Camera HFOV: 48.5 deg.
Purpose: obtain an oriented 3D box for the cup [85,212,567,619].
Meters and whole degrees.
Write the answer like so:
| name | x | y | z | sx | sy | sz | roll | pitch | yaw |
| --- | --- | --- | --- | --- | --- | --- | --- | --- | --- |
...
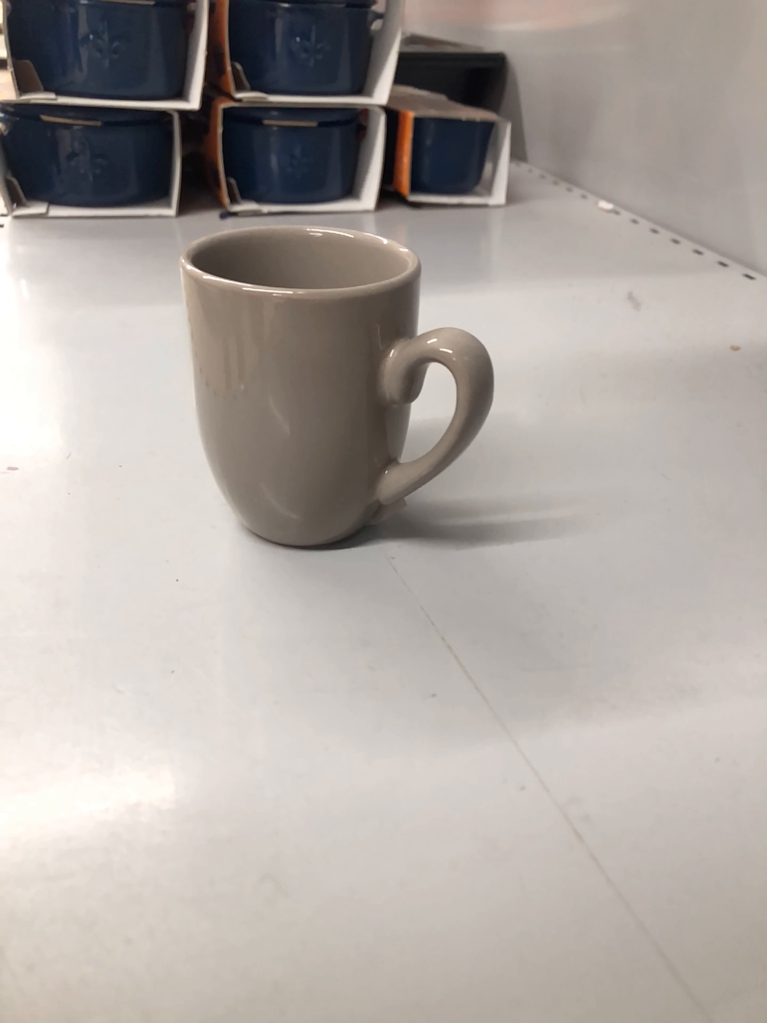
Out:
| name | x | y | z | sx | sy | sz | roll | pitch | yaw |
| --- | --- | --- | --- | --- | --- | --- | --- | --- | --- |
| cup | -0.013 | -0.031 | 0.214 | 0.091 | 0.062 | 0.065 | 20 | 36 | 27 |
